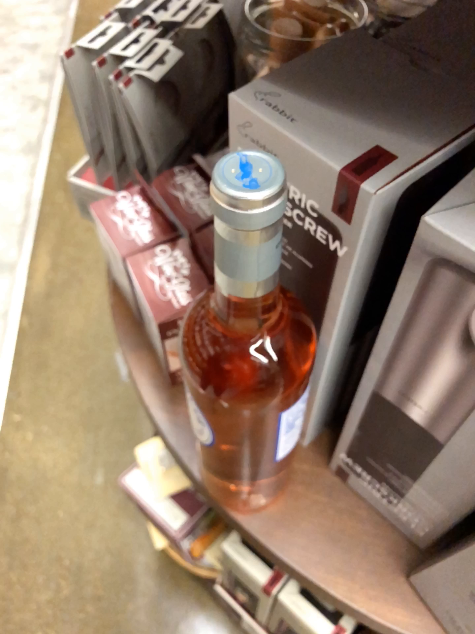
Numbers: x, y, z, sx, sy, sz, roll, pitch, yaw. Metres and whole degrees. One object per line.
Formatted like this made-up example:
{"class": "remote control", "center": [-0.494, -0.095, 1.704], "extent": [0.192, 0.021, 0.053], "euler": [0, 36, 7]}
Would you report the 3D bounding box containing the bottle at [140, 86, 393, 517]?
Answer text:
{"class": "bottle", "center": [0.009, 0.028, 0.308], "extent": [0.080, 0.289, 0.078], "euler": [-1, 54, 1]}
